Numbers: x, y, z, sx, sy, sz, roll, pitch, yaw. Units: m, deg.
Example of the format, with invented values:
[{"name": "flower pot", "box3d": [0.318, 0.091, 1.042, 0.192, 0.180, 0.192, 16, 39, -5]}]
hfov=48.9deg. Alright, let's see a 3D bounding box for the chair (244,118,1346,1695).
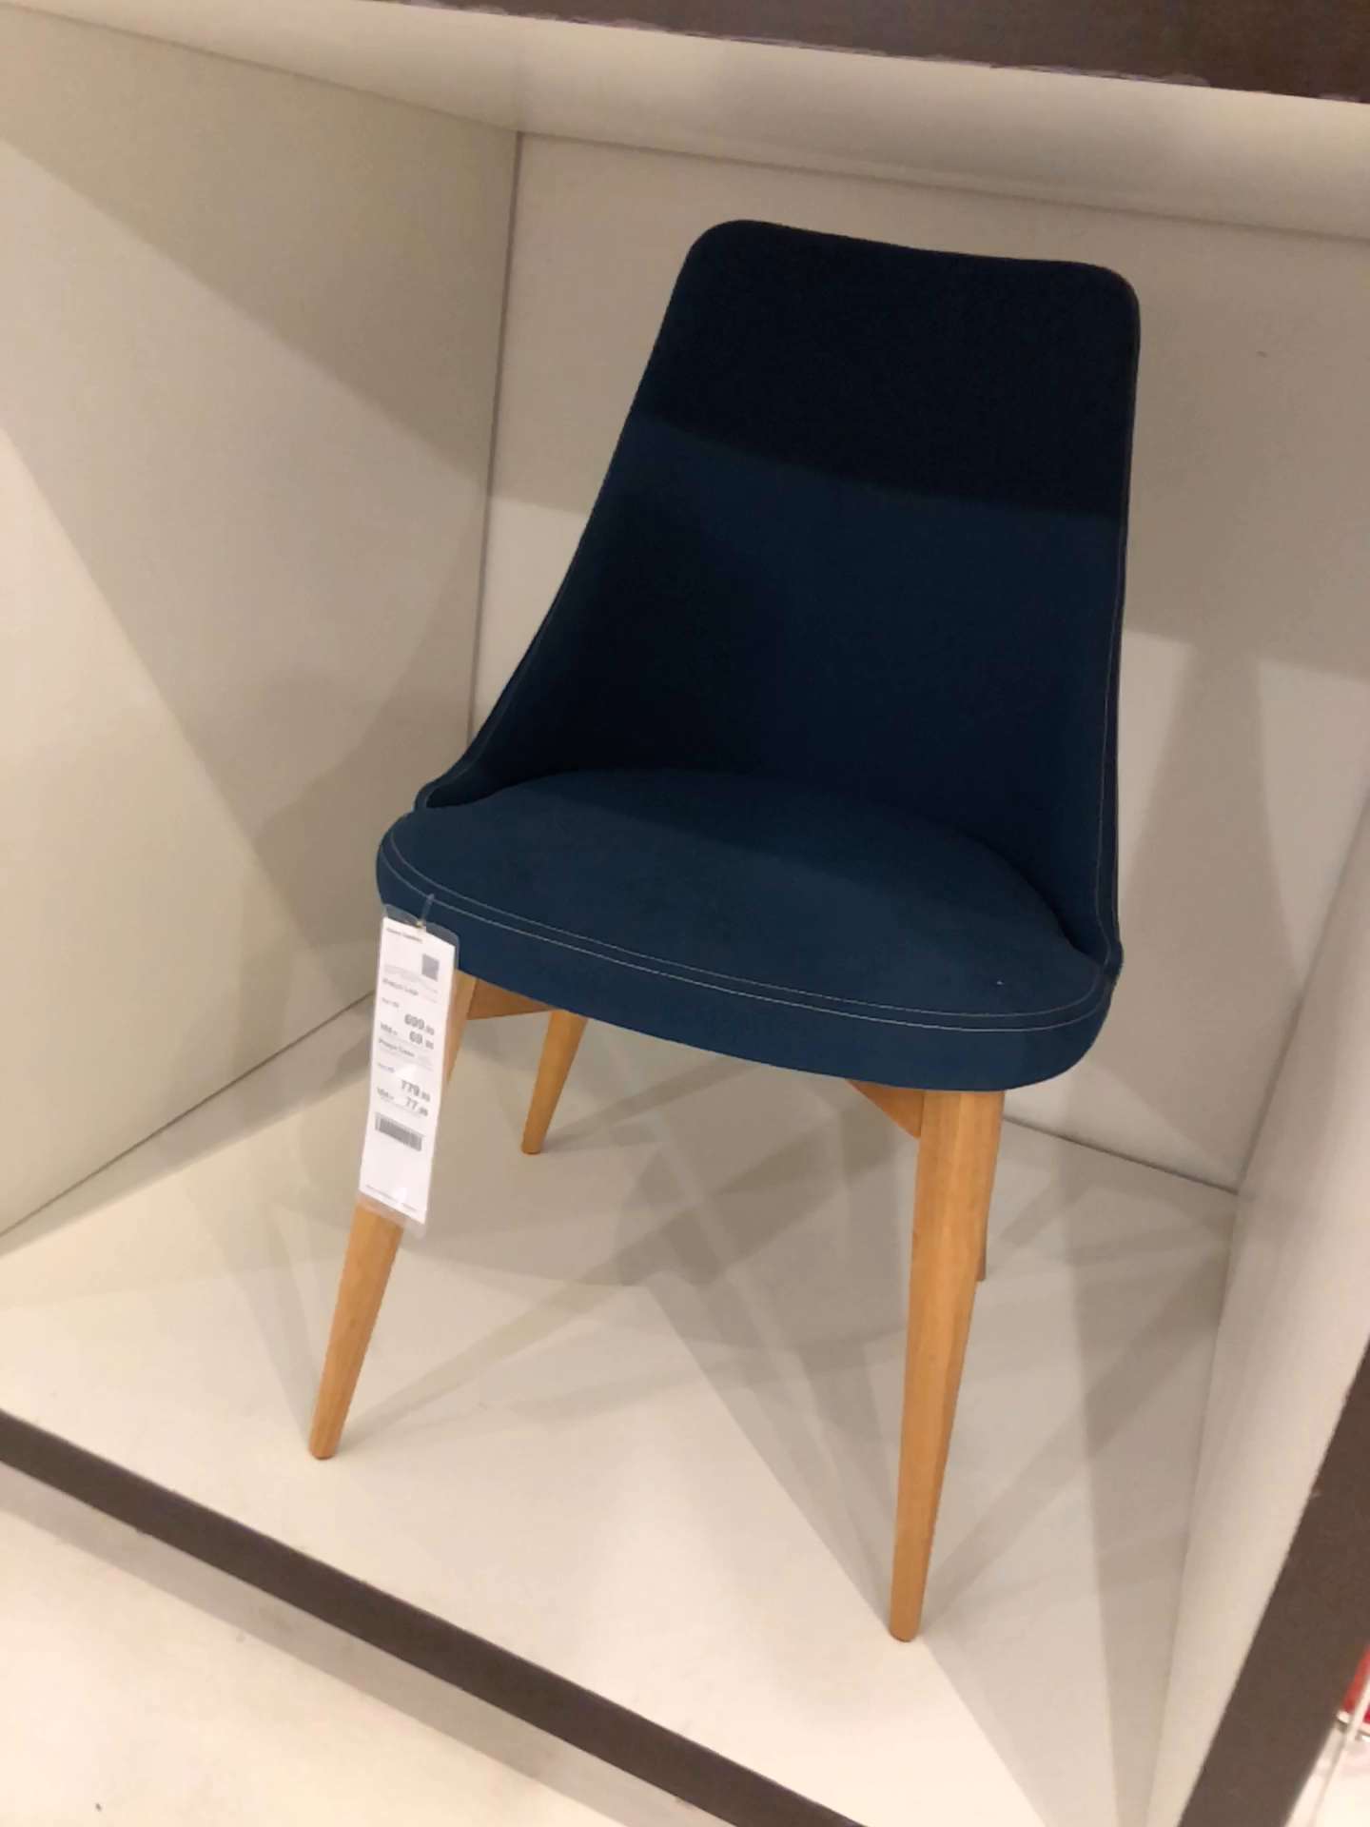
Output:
[{"name": "chair", "box3d": [0.056, -0.039, 1.101, 0.520, 0.864, 0.524, 13, 24, 13]}]
